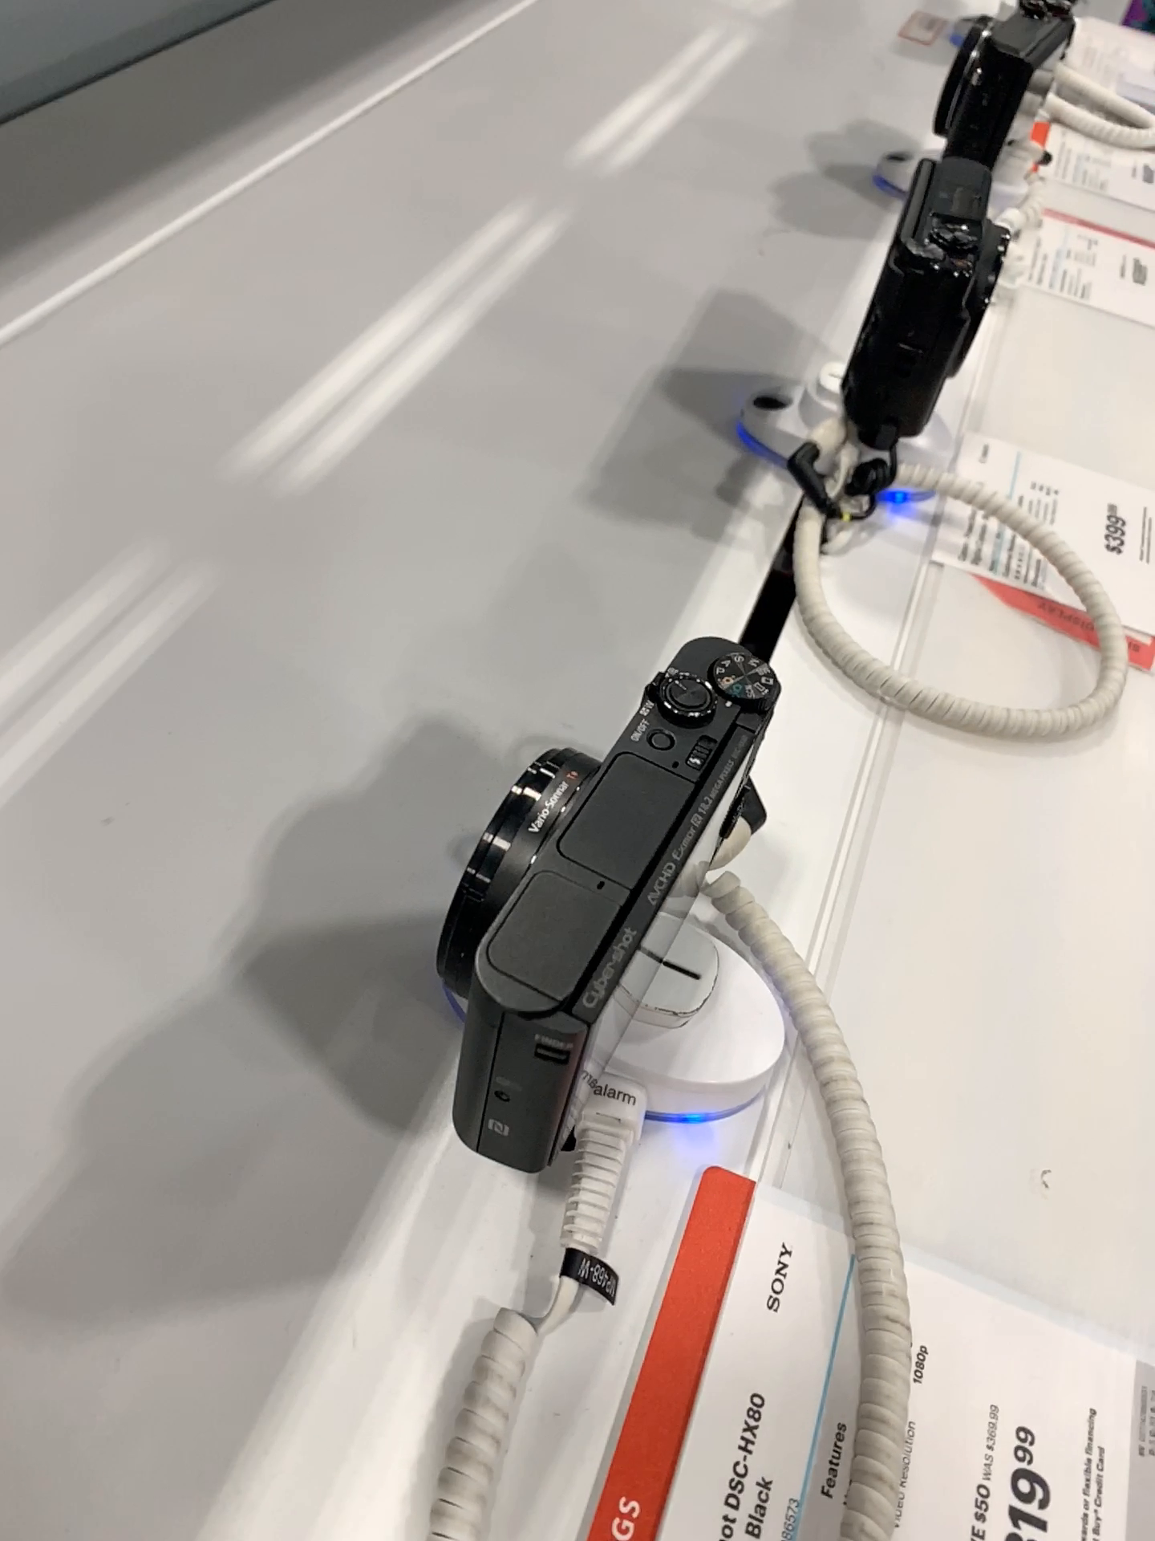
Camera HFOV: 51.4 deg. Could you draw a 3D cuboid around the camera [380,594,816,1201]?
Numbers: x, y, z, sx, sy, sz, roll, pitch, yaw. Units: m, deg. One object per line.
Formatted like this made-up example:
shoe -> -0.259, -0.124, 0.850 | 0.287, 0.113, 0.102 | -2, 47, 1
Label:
camera -> 0.006, 0.020, 0.238 | 0.040, 0.052, 0.104 | 24, 48, 10
